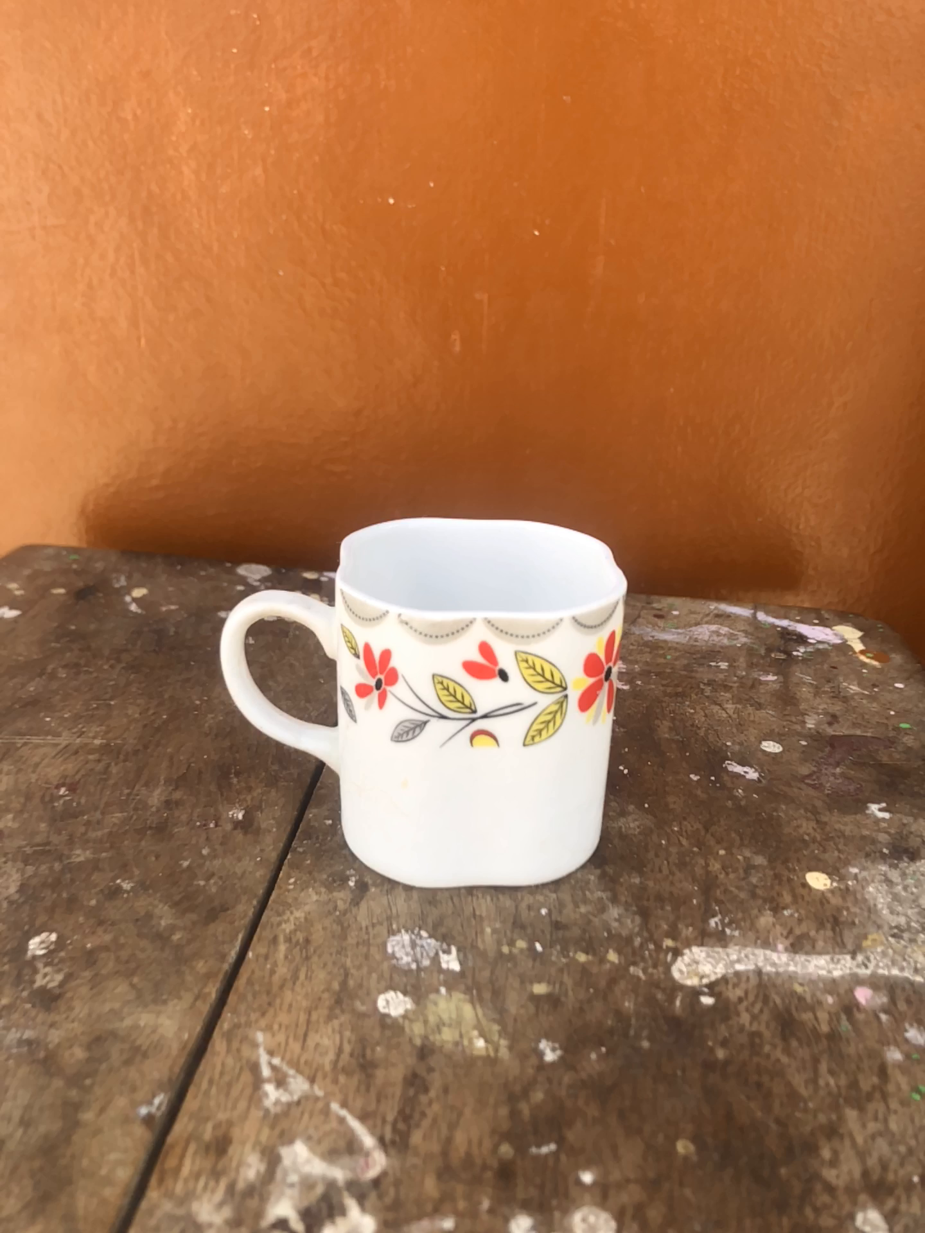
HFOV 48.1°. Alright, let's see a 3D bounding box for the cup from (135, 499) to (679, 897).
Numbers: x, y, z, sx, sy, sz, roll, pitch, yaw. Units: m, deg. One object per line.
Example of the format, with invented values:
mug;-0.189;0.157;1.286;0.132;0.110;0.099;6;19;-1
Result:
cup;-0.011;0.013;0.210;0.090;0.060;0.060;1;20;-2
